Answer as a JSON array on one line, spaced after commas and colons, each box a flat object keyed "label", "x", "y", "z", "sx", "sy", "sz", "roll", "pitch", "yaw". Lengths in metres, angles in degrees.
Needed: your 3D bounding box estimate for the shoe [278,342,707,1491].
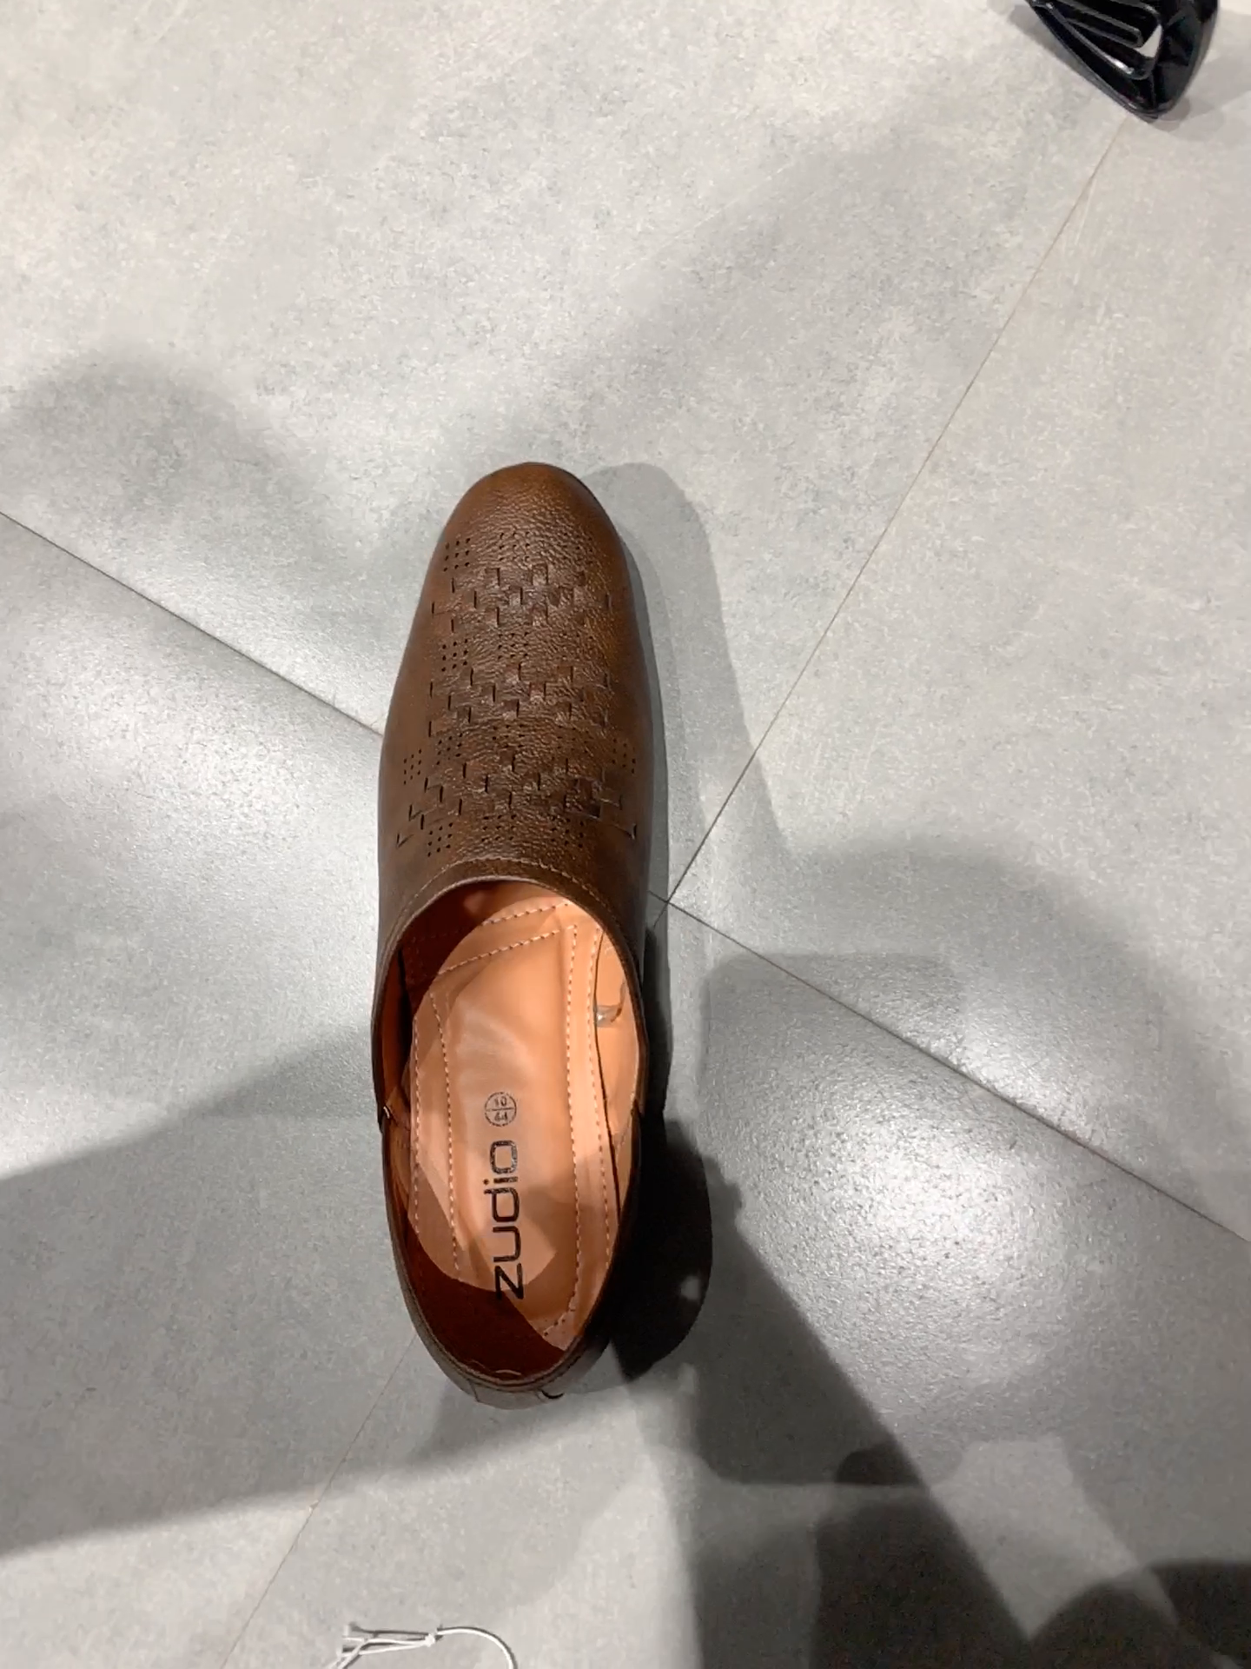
[{"label": "shoe", "x": -0.035, "y": 0.021, "z": 0.382, "sx": 0.100, "sy": 0.110, "sz": 0.290, "roll": -3, "pitch": 84, "yaw": 2}]
